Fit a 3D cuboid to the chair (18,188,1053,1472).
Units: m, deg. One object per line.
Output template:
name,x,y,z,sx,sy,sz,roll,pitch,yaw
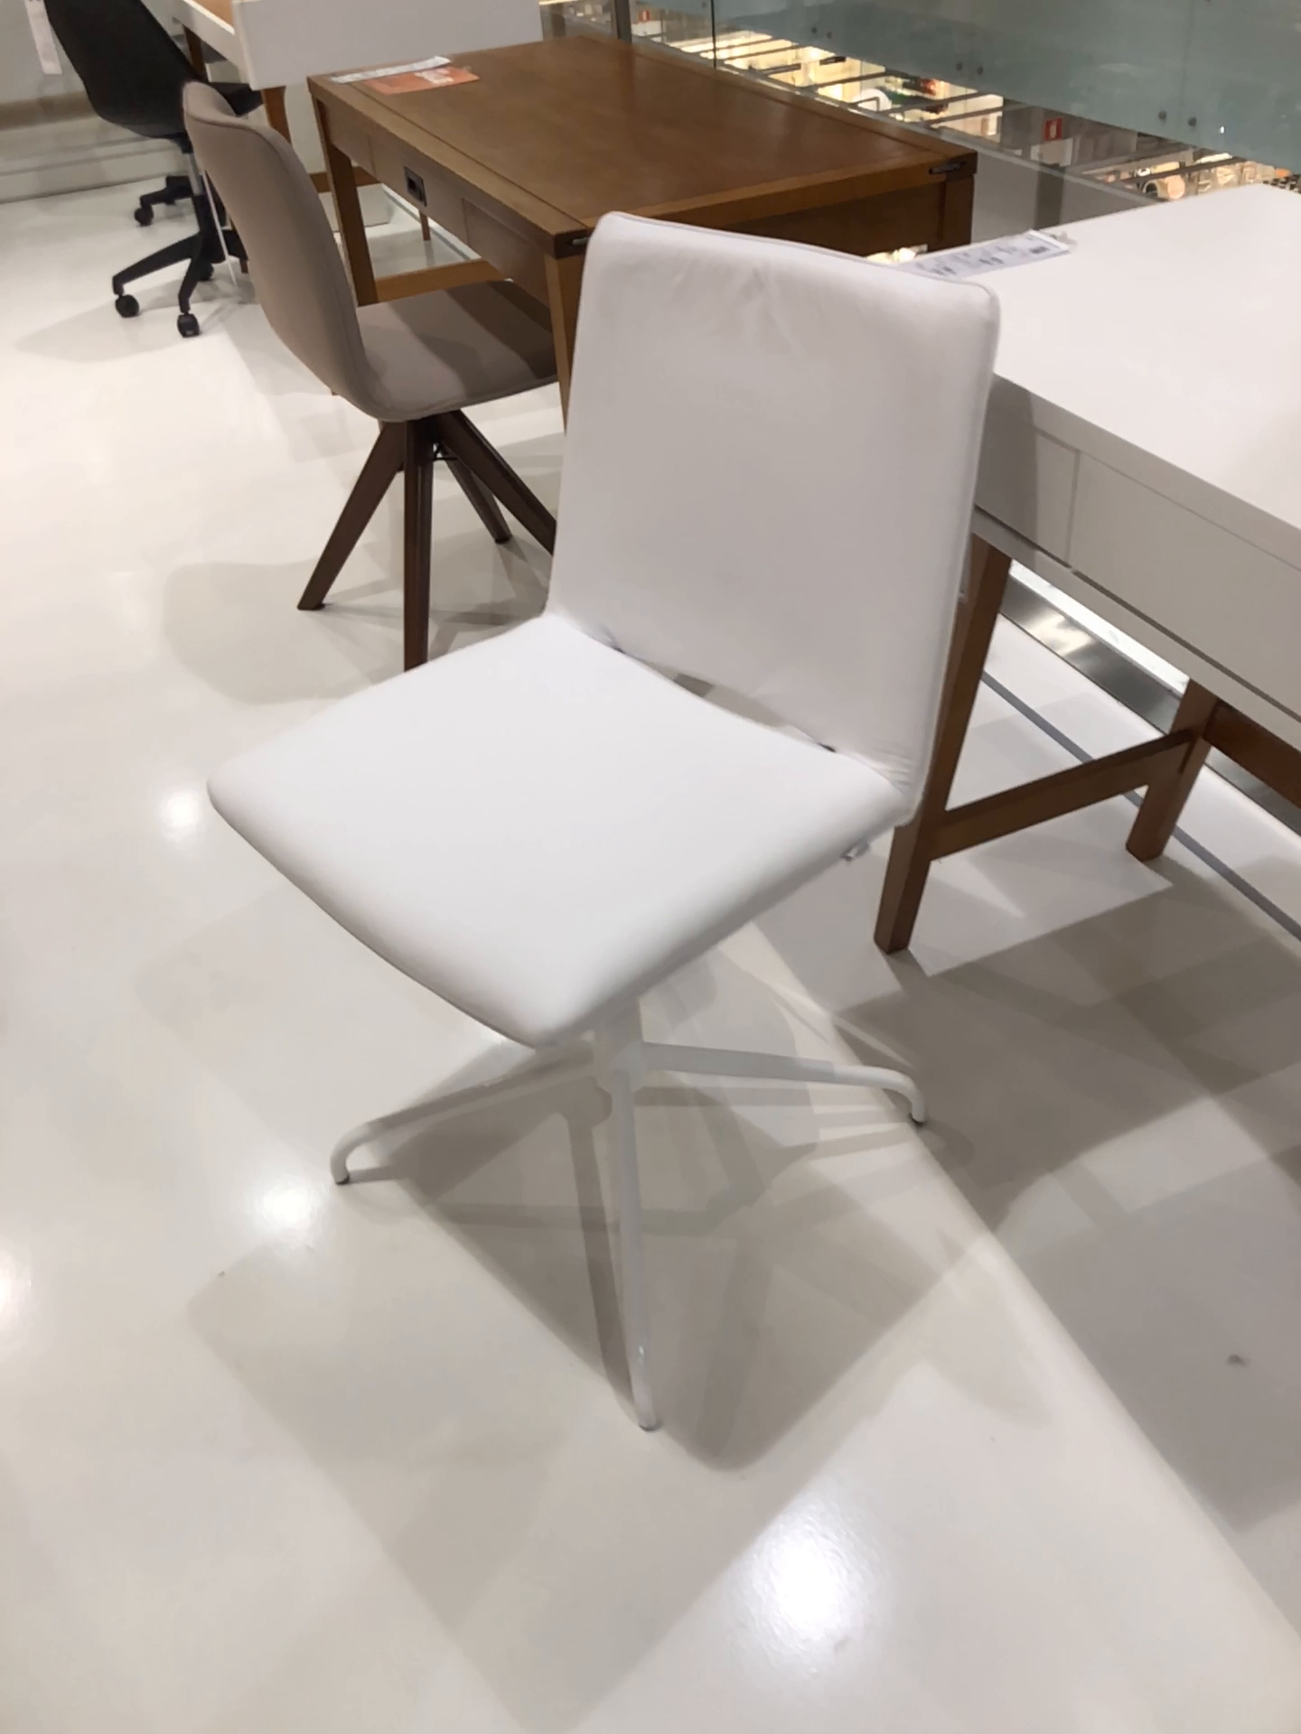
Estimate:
chair,-0.054,-0.046,1.228,0.502,0.843,0.512,-33,45,-31
